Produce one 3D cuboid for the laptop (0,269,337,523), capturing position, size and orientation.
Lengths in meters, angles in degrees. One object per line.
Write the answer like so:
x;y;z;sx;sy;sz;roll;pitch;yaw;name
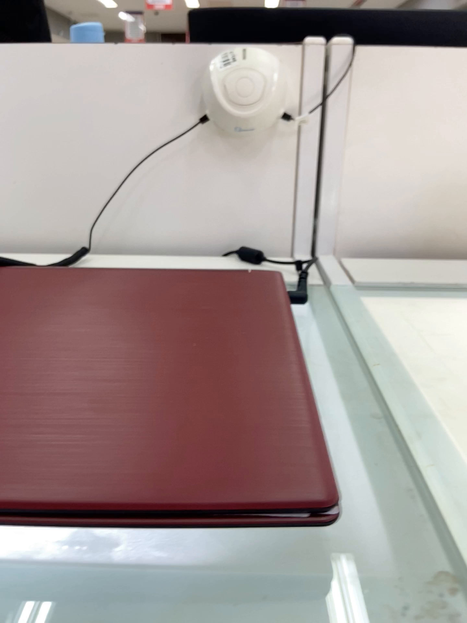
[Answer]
-0.147;0.017;0.283;0.367;0.006;0.263;1;20;1;laptop
